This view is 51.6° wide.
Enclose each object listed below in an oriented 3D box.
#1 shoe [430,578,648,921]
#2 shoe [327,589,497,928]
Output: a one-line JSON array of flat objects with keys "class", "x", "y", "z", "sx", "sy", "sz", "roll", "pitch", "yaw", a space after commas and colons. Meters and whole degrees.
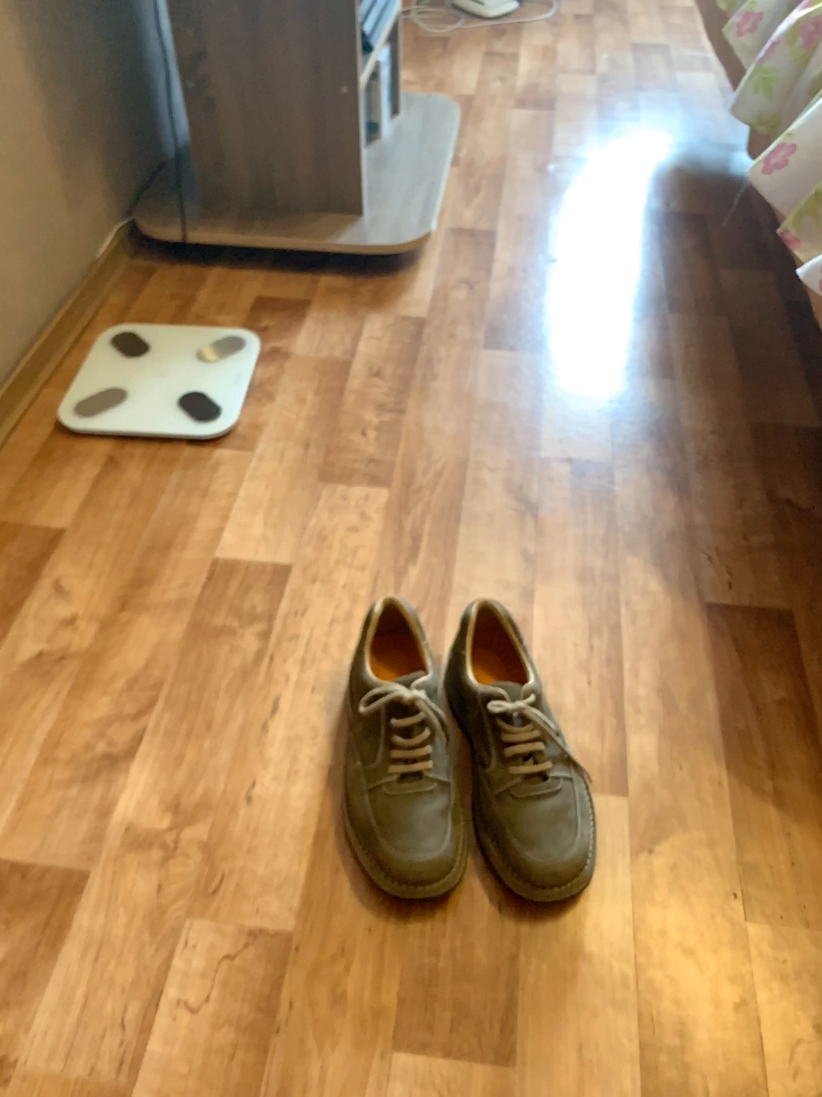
[{"class": "shoe", "x": 0.107, "y": 0.181, "z": 0.820, "sx": 0.120, "sy": 0.110, "sz": 0.291, "roll": -8, "pitch": 47, "yaw": -7}, {"class": "shoe", "x": -0.008, "y": 0.195, "z": 0.838, "sx": 0.120, "sy": 0.120, "sz": 0.291, "roll": -6, "pitch": 47, "yaw": -5}]
